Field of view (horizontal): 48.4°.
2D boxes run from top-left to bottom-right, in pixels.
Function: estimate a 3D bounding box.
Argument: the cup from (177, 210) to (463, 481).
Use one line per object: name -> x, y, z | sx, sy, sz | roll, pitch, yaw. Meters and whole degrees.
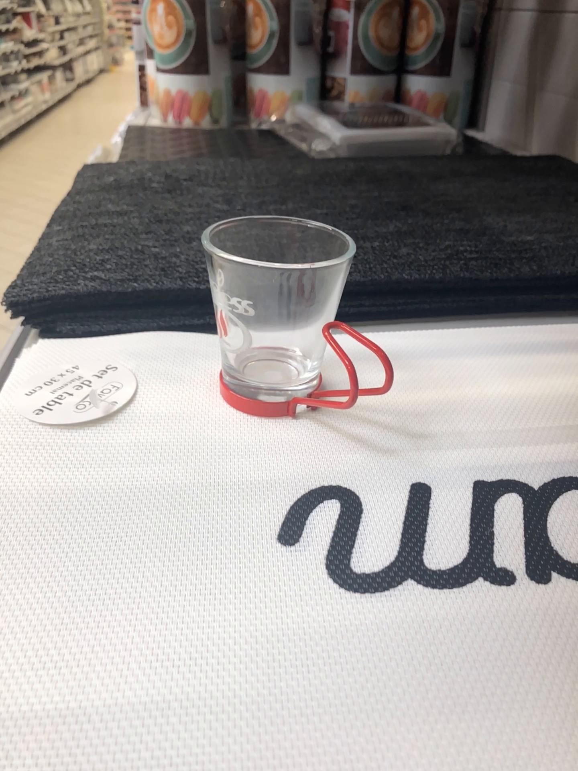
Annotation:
cup -> 0.006, -0.022, 0.250 | 0.056, 0.063, 0.092 | -21, 38, -38
